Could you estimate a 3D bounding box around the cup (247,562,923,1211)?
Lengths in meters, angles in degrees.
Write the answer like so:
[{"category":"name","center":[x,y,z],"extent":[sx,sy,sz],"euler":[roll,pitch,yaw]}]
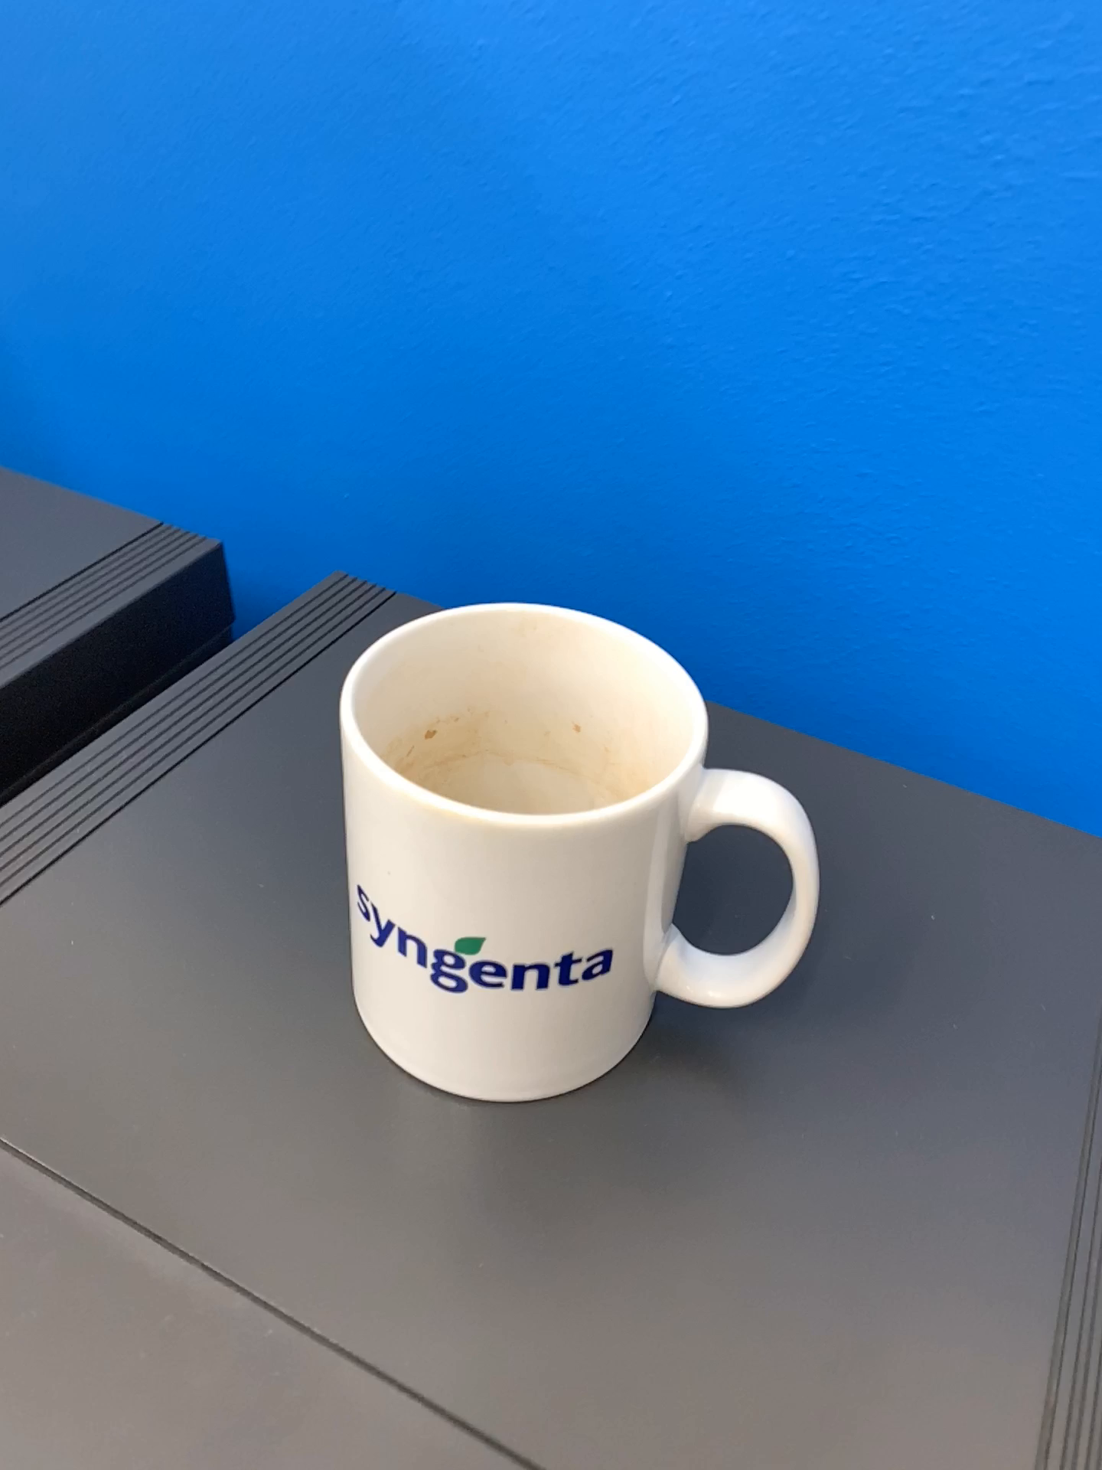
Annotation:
[{"category":"cup","center":[0.011,0.033,0.277],"extent":[0.131,0.094,0.089],"euler":[13,39,9]}]
